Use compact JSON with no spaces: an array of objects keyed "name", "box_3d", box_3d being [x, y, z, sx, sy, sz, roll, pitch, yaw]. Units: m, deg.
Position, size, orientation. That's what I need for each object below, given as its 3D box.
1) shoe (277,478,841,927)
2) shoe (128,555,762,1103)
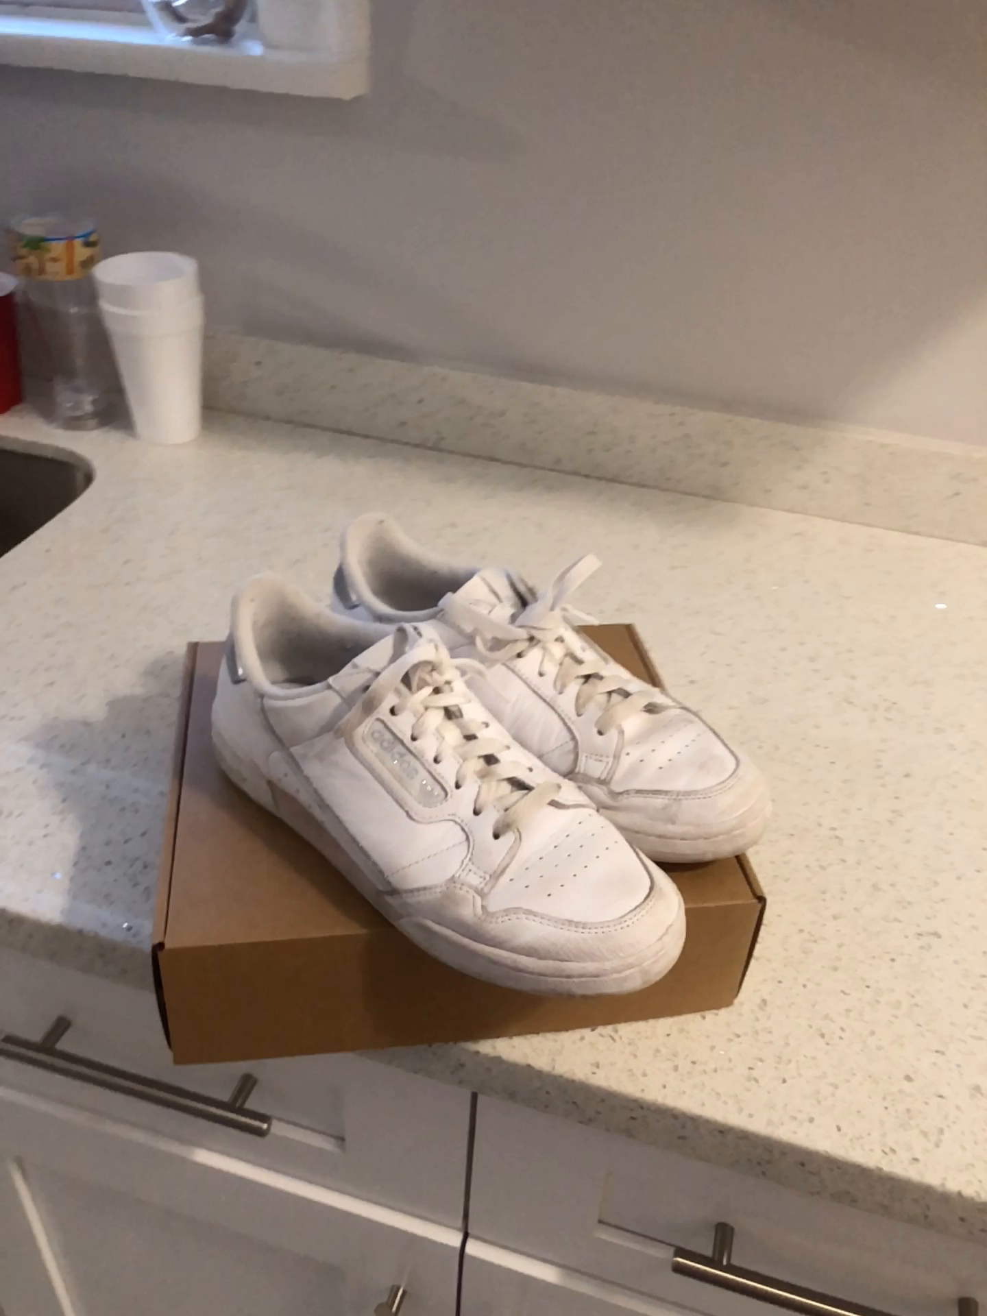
[{"name":"shoe","box_3d":[0.023,0.008,0.569,0.269,0.100,0.107,25,40,29]},{"name":"shoe","box_3d":[-0.032,0.060,0.499,0.269,0.100,0.107,25,40,29]}]
